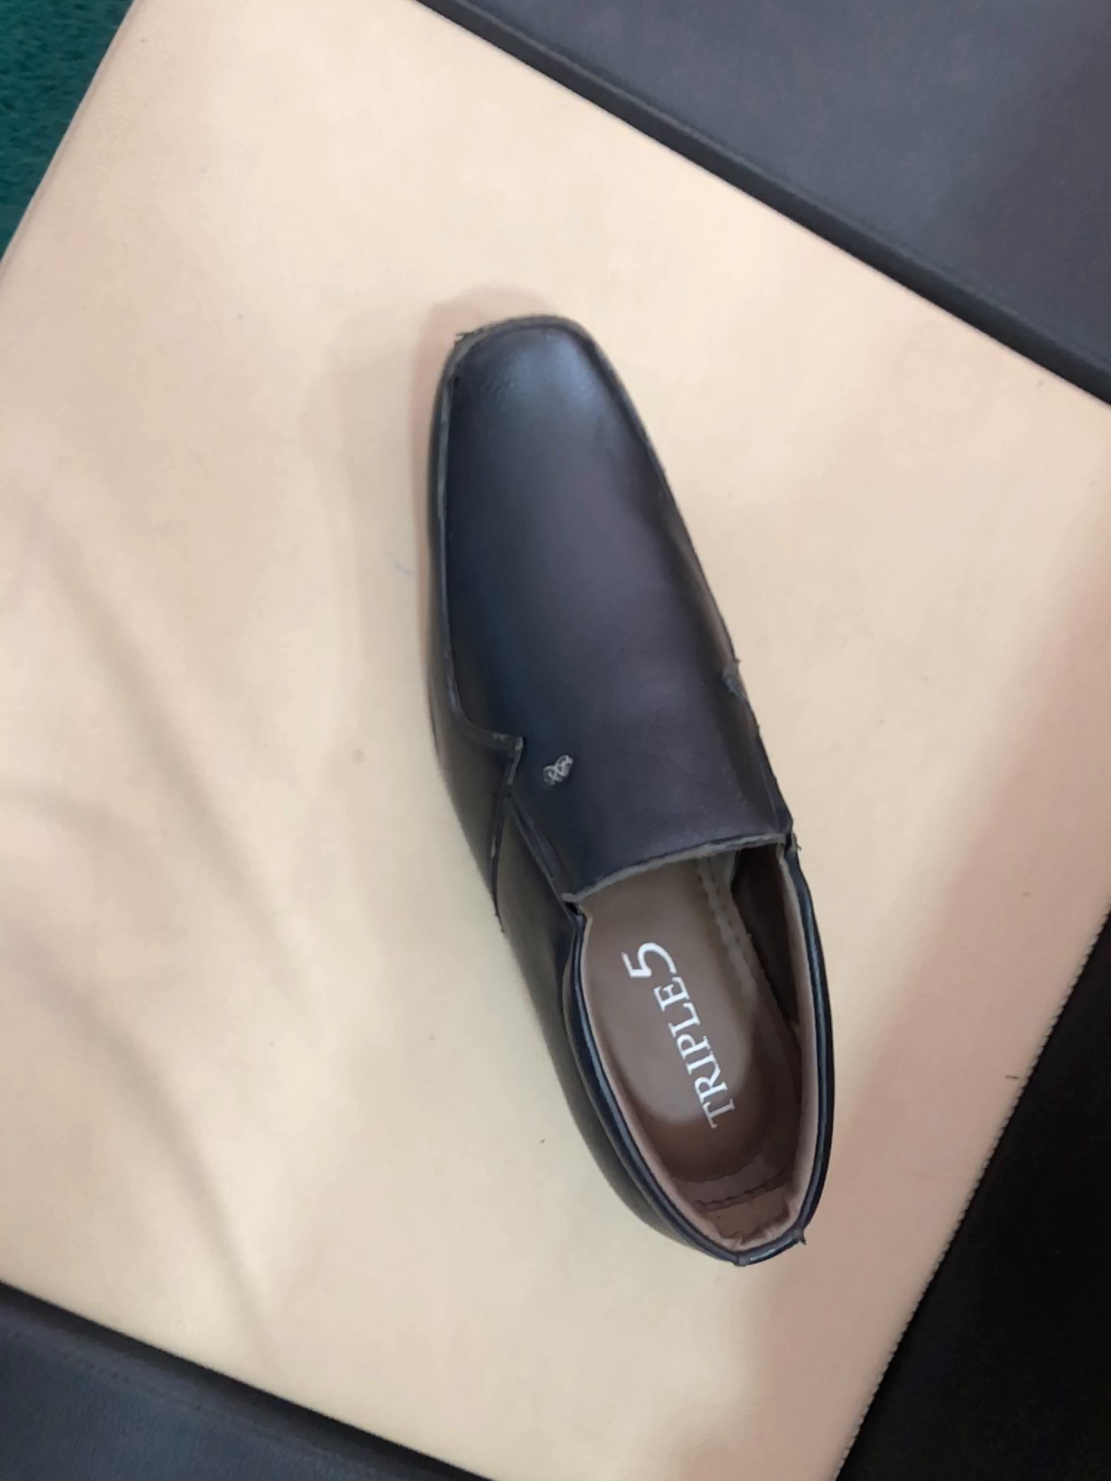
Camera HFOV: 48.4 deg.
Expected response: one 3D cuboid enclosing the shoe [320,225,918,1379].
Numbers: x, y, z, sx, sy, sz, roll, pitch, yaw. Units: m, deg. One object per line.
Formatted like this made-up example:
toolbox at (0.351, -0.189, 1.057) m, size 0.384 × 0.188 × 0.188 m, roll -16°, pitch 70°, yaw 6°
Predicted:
shoe at (0.016, 0.017, 0.381) m, size 0.100 × 0.090 × 0.300 m, roll -14°, pitch 94°, yaw -7°
